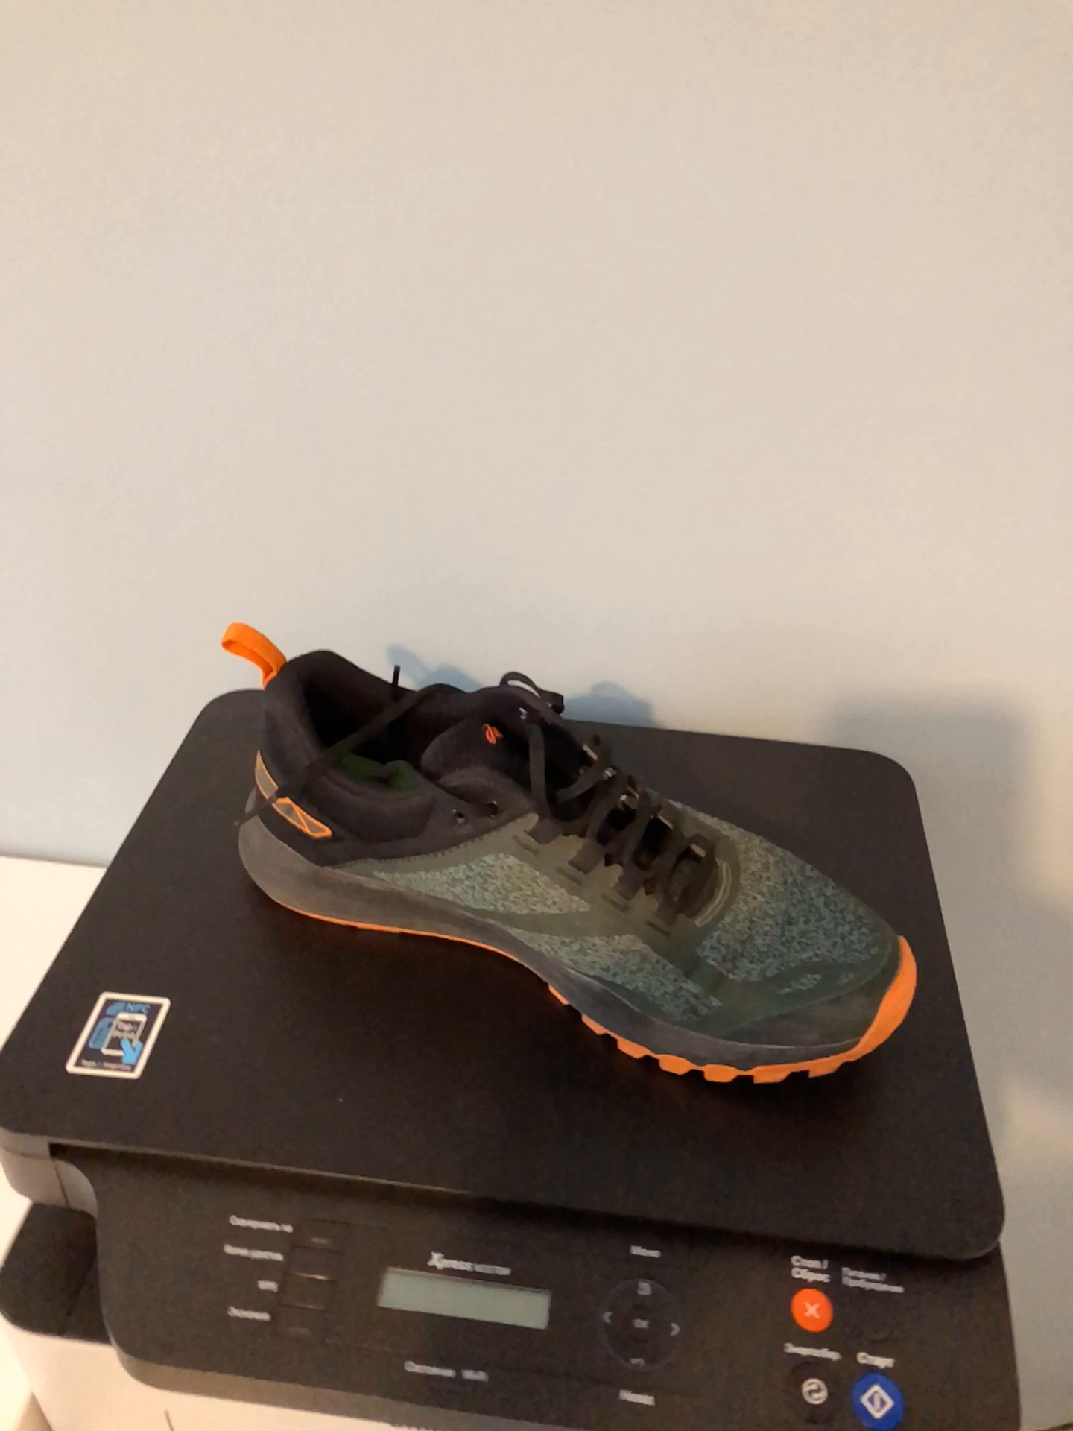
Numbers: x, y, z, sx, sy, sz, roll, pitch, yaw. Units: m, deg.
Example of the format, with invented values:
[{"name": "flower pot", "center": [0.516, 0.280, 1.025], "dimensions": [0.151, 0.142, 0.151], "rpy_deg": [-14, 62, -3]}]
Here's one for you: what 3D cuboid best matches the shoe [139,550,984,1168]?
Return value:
[{"name": "shoe", "center": [0.006, 0.045, 0.497], "dimensions": [0.310, 0.119, 0.121], "rpy_deg": [17, 39, 19]}]
